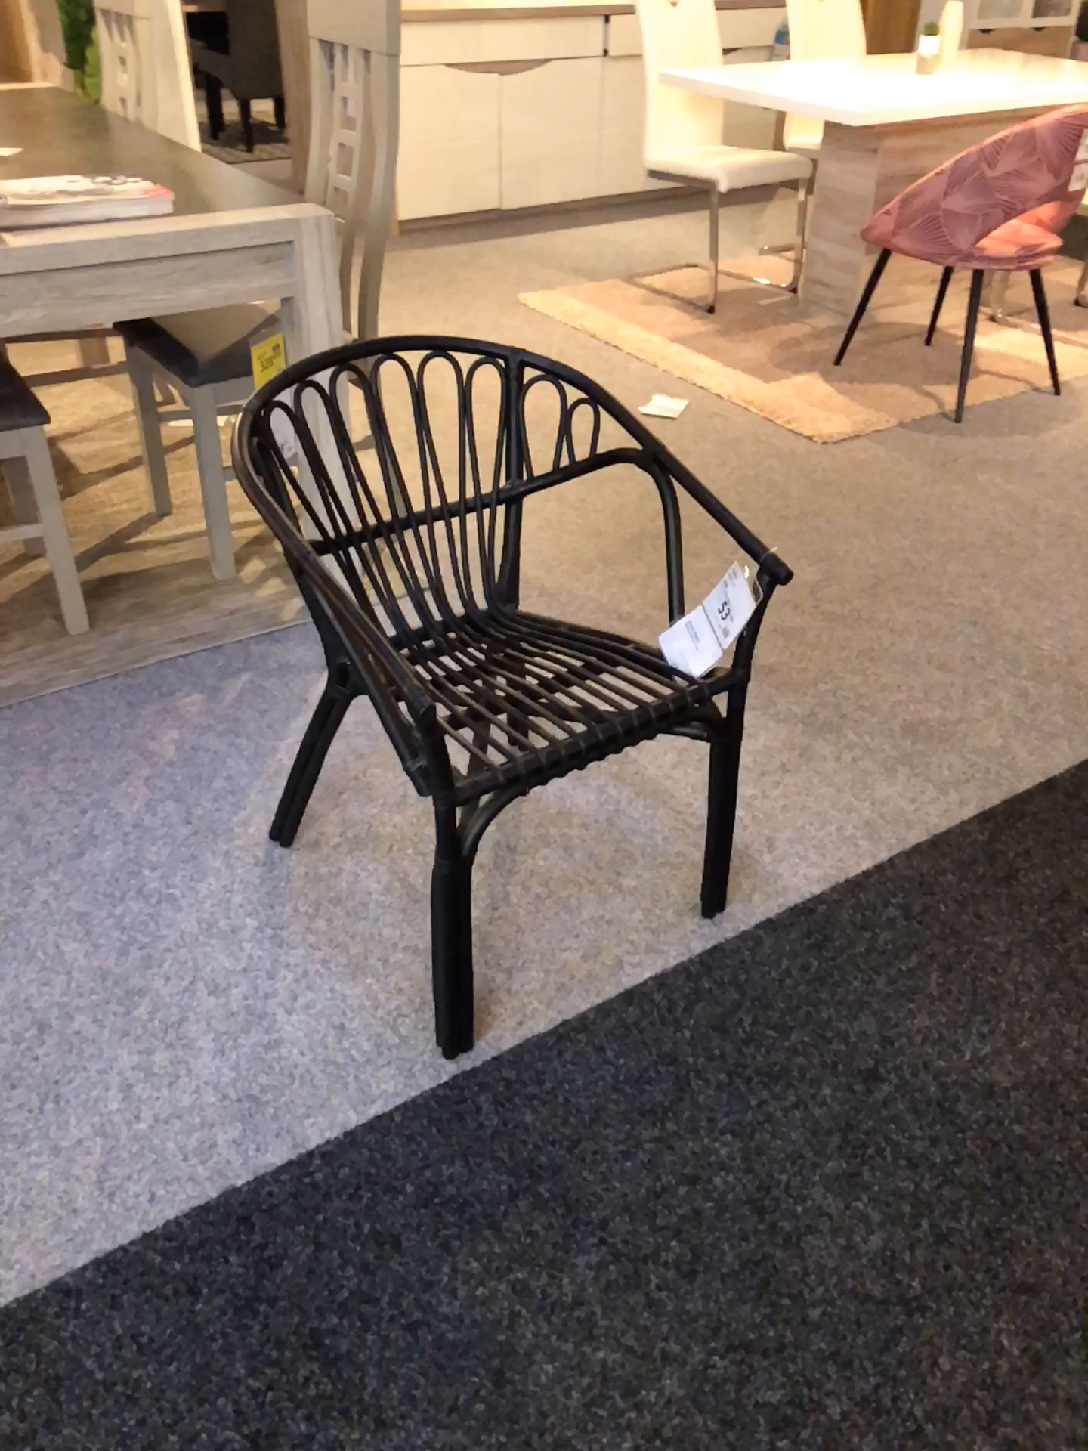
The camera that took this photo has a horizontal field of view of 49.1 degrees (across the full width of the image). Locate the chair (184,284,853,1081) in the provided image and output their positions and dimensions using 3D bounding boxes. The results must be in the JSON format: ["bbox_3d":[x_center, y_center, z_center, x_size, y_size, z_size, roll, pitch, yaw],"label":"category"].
[{"bbox_3d":[-0.054,-0.093,1.540,0.532,0.736,0.561,-20,39,-28],"label":"chair"}]
